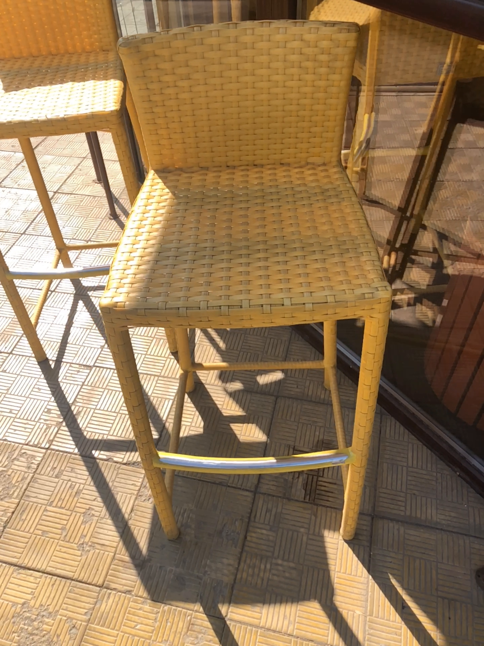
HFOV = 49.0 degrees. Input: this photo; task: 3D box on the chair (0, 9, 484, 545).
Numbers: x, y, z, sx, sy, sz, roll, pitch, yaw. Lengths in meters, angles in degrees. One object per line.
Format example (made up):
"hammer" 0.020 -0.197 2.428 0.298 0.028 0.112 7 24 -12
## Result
"chair" 0.013 -0.009 1.034 0.480 0.916 0.522 0 47 2
